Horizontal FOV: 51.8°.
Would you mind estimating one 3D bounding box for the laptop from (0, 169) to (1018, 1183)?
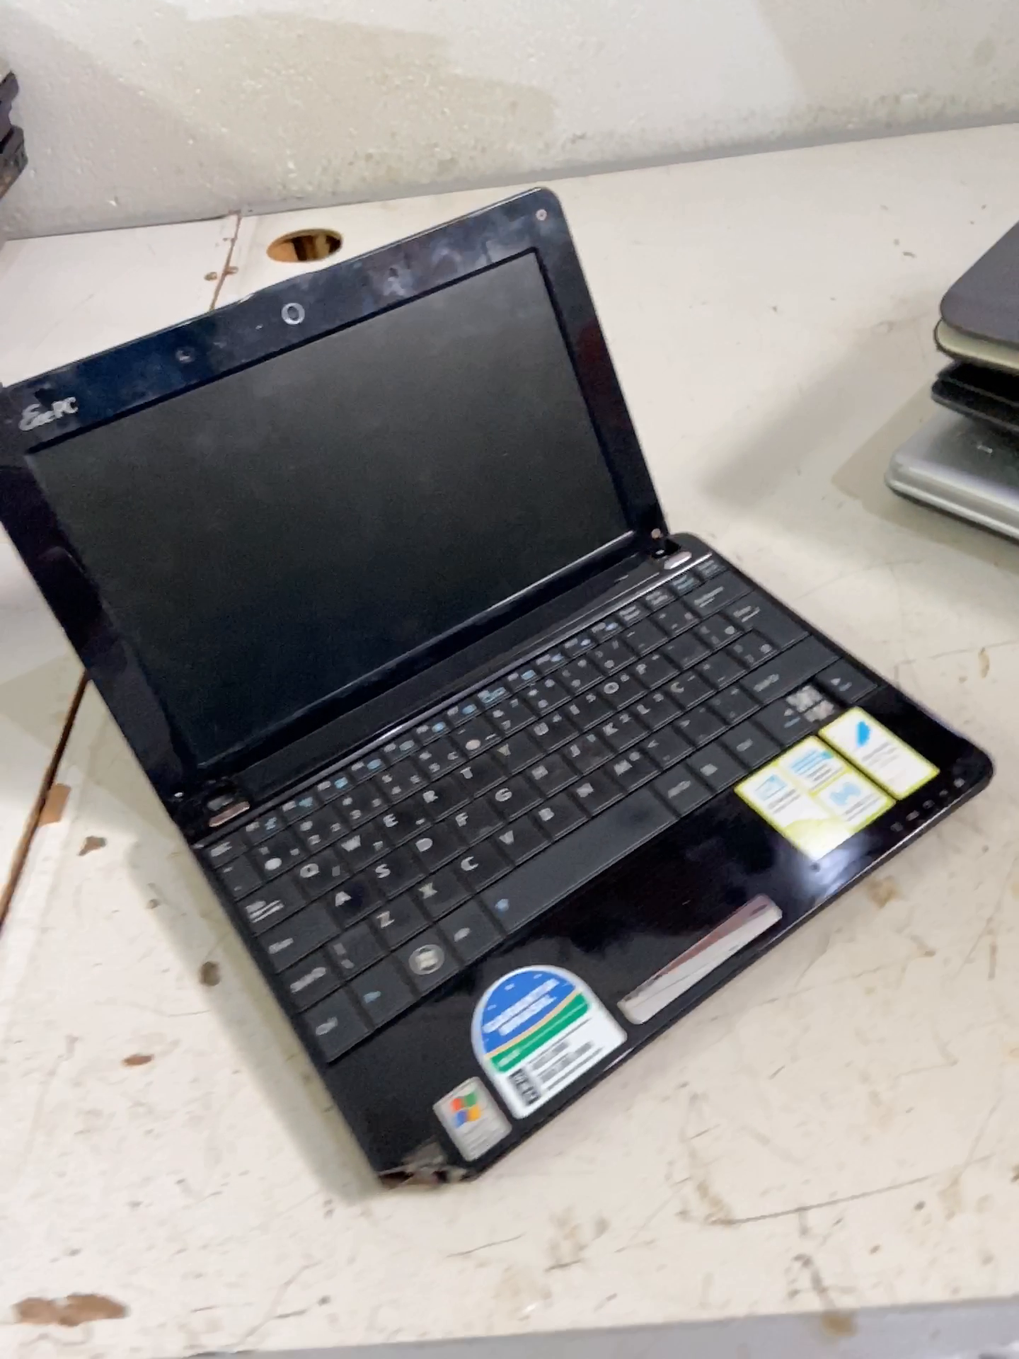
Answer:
[{"bbox_3d":[-0.011,-0.035,0.377,0.259,0.131,0.266,-29,52,-19],"label":"laptop"}]
